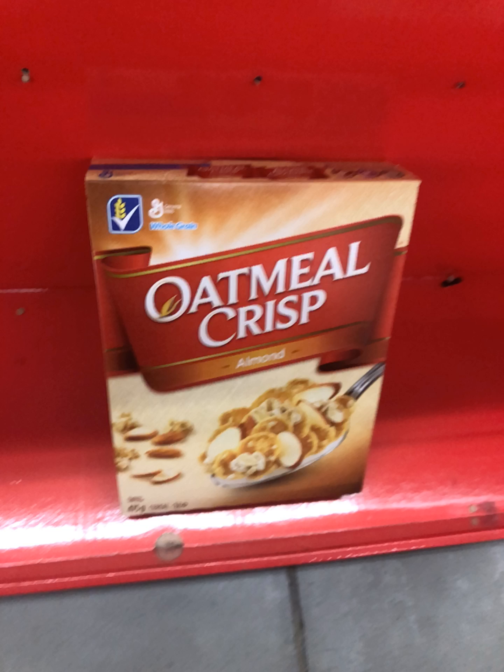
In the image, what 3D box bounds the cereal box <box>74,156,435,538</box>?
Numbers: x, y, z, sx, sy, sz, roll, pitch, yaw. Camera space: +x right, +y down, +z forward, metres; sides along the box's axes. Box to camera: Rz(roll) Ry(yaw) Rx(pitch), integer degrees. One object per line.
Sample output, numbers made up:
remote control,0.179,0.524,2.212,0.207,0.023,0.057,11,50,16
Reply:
cereal box,-0.005,0.014,0.412,0.210,0.269,0.070,-3,29,-11
